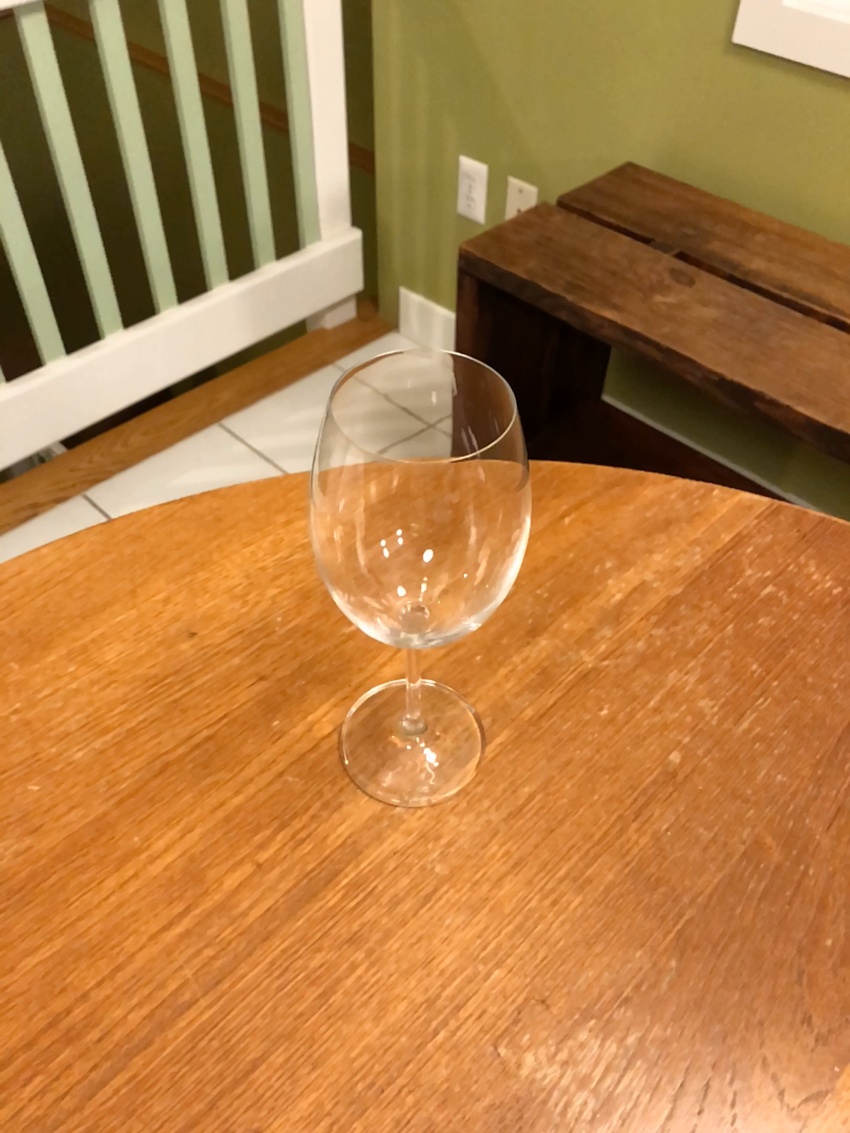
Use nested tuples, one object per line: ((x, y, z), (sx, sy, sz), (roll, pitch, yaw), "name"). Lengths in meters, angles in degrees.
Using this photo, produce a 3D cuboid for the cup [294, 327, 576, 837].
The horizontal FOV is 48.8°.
((-0.003, 0.020, 0.449), (0.097, 0.240, 0.101), (1, 46, -1), "cup")
